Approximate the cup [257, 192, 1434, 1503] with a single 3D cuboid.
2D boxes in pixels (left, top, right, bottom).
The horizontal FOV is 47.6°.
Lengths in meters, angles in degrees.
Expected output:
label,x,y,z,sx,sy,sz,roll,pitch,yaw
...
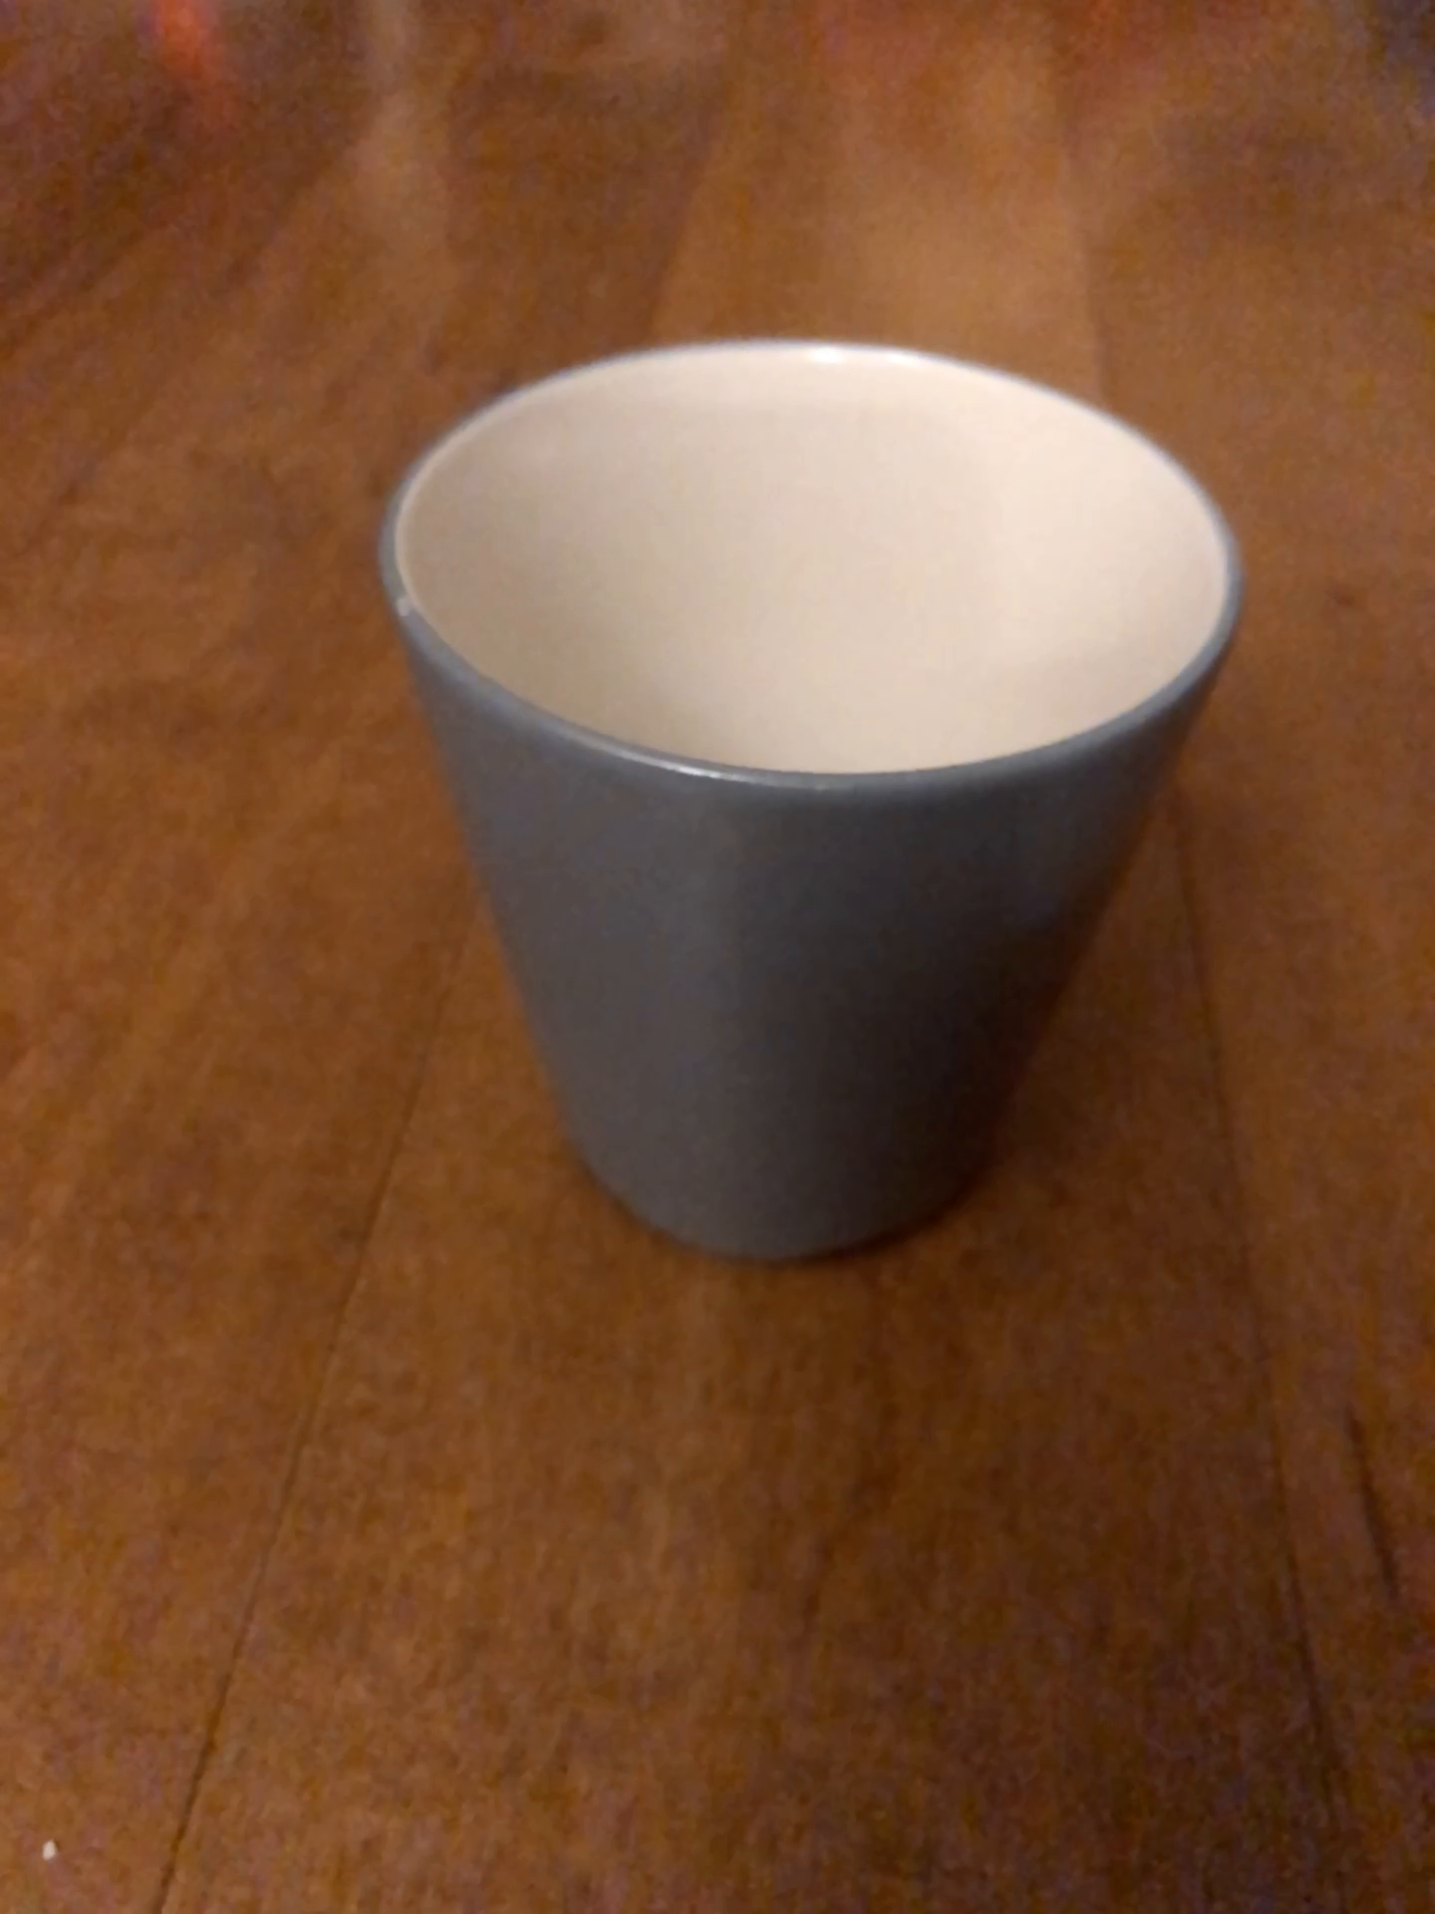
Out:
label,x,y,z,sx,sy,sz,roll,pitch,yaw
cup,0.005,-0.025,0.228,0.100,0.099,0.141,-13,46,-14
